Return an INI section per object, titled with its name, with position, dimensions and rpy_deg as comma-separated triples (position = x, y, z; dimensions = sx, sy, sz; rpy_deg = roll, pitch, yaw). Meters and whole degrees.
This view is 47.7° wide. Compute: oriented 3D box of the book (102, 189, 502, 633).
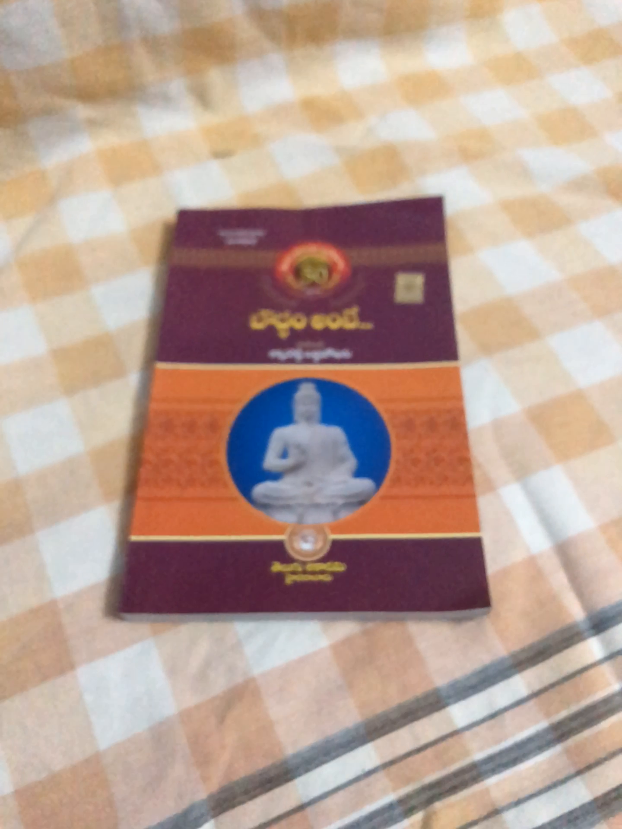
[book]
position = -0.002, -0.017, 0.350
dimensions = 0.160, 0.020, 0.241
rpy_deg = 1, 60, -1
